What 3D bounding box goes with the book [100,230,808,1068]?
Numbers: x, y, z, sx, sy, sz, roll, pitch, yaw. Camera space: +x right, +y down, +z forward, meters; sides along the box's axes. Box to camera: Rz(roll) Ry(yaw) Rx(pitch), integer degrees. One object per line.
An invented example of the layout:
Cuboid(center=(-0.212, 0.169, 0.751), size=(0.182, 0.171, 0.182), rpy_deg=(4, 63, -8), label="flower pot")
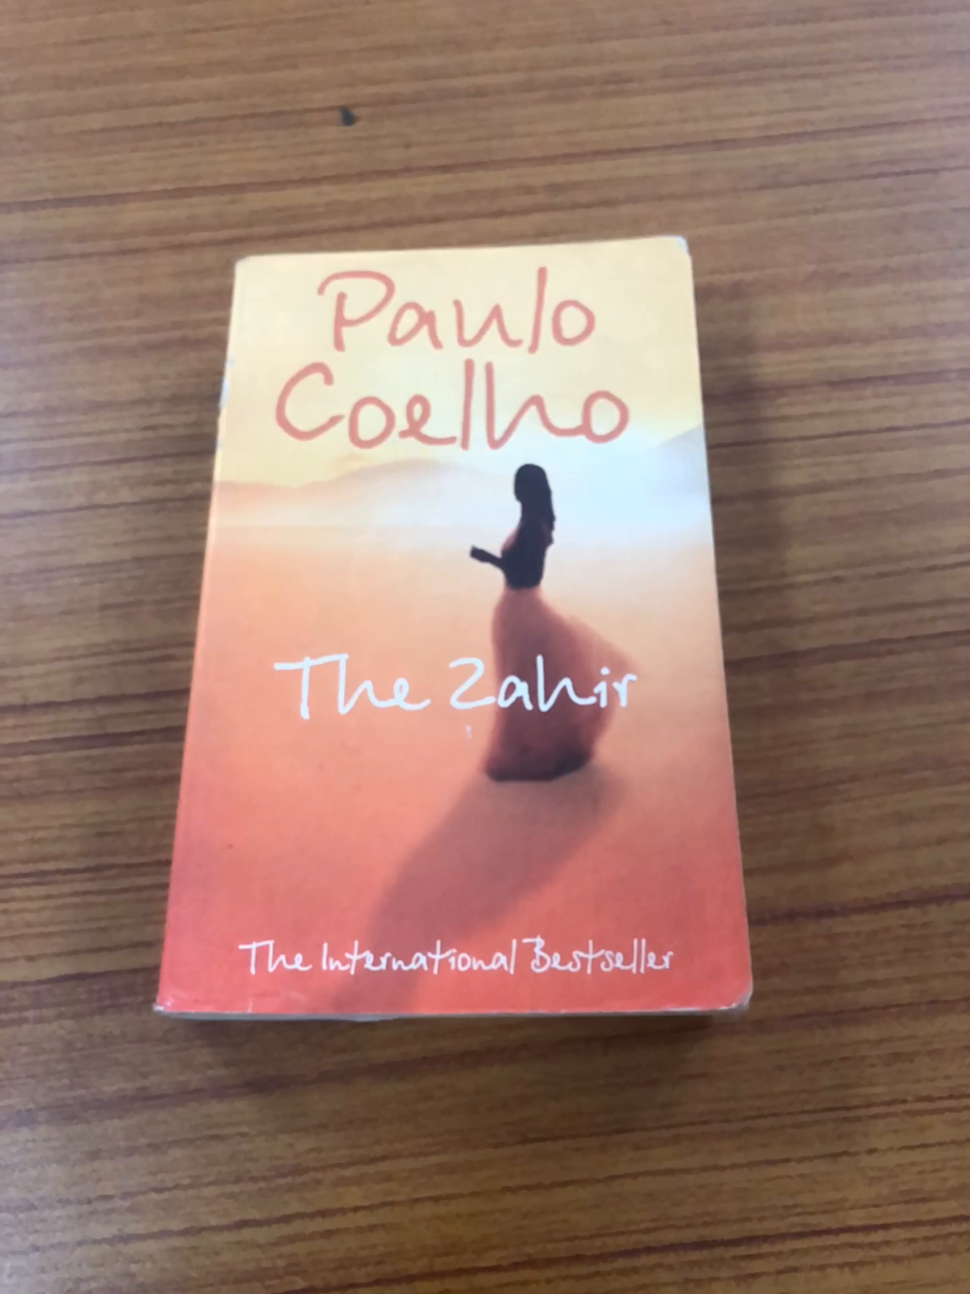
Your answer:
Cuboid(center=(-0.006, -0.006, 0.239), size=(0.120, 0.040, 0.180), rpy_deg=(-1, 67, 1), label="book")
